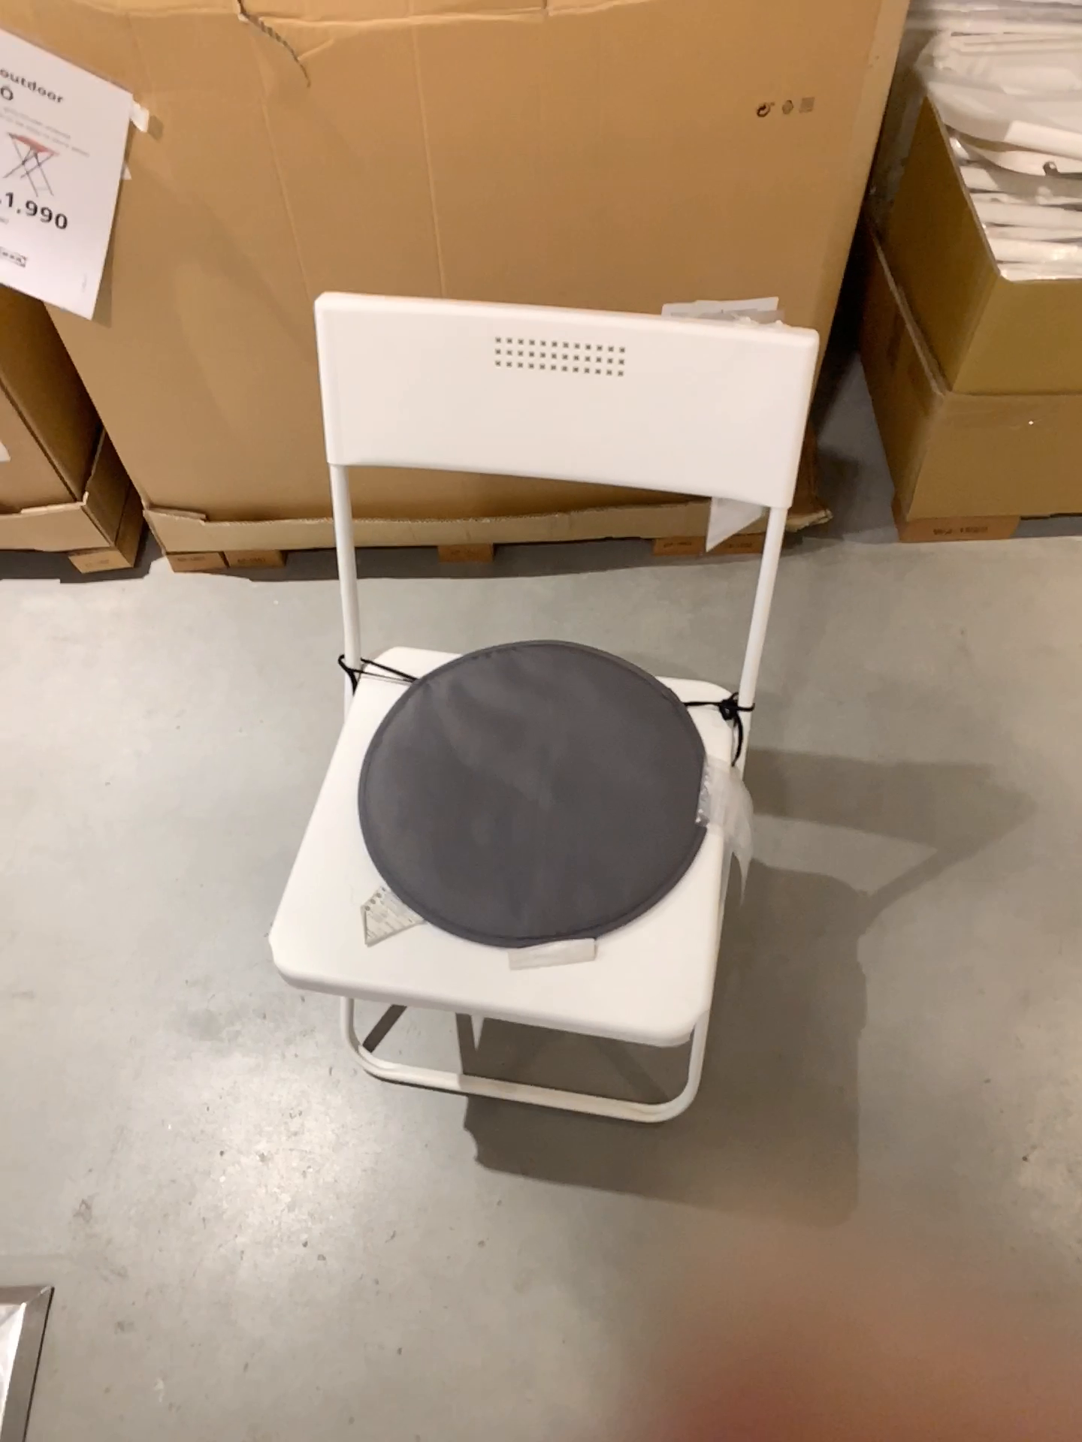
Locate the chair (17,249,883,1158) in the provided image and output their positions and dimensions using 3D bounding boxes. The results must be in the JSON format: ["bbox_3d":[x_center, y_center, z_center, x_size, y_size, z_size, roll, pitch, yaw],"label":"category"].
[{"bbox_3d":[-0.010,0.045,1.044,0.490,0.738,0.481,7,57,7],"label":"chair"}]
